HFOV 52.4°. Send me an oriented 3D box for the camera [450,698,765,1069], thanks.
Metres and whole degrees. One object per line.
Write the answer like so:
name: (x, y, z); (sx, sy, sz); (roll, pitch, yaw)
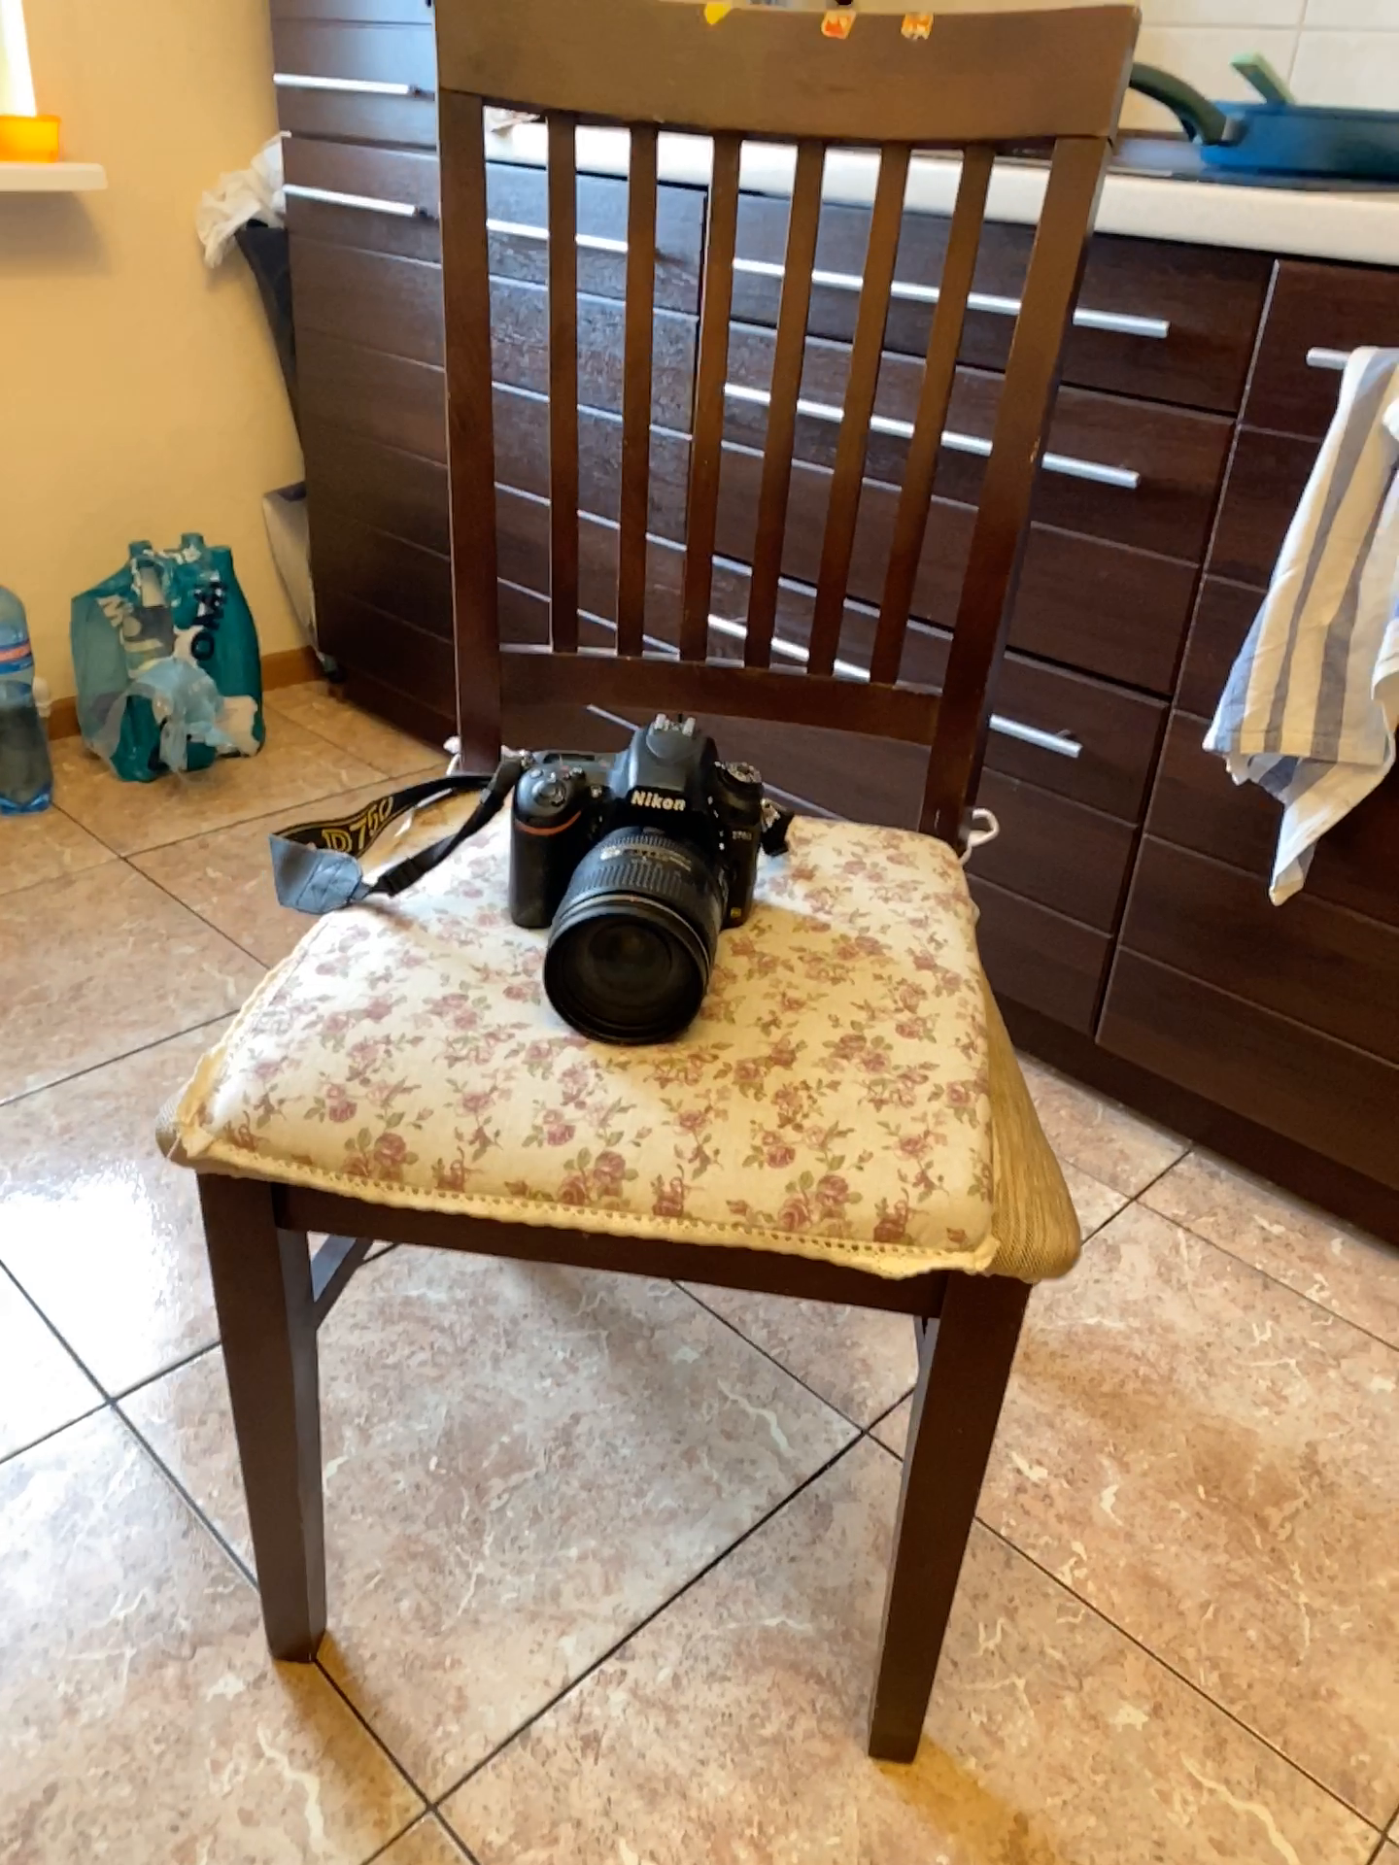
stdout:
camera: (-0.042, -0.032, 0.742); (0.135, 0.119, 0.165); (6, 29, 3)
